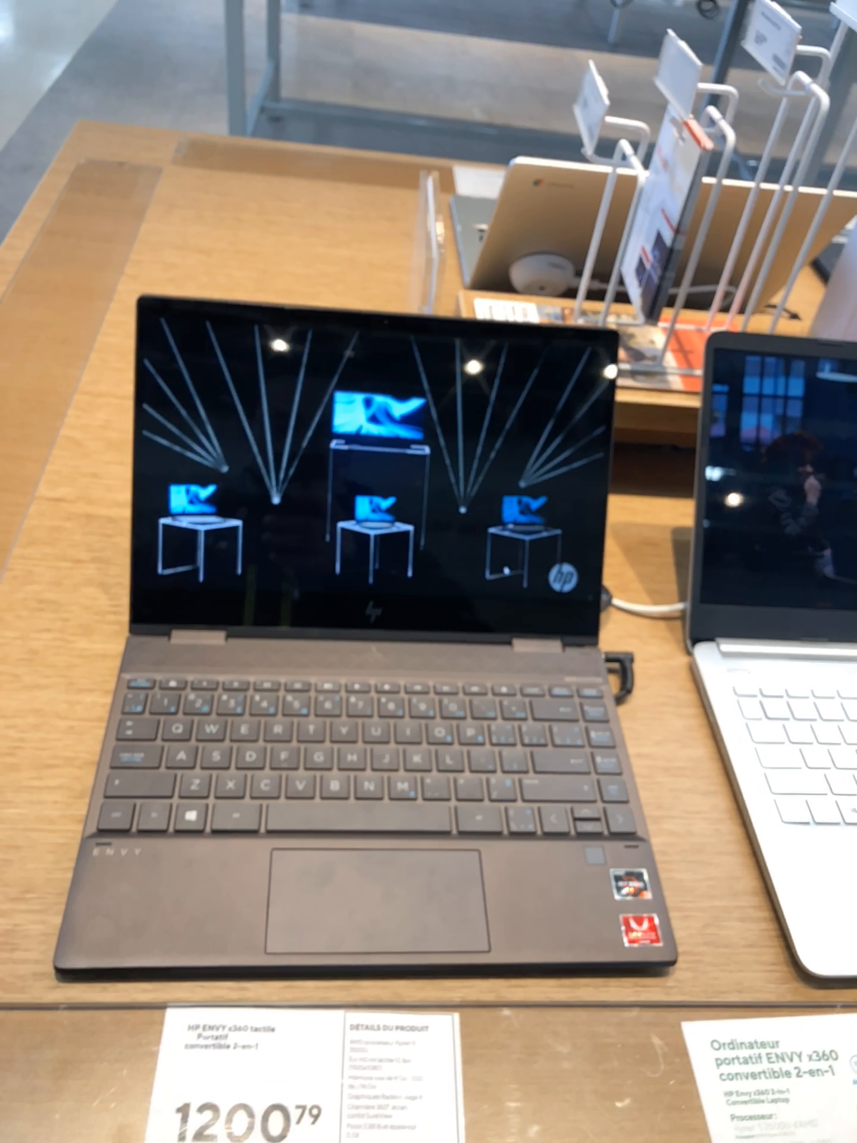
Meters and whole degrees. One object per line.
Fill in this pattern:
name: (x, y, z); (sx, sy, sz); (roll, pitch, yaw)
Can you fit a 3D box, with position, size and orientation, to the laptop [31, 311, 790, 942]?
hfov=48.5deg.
laptop: (-0.018, 0.014, 0.536); (0.293, 0.162, 0.319); (2, 43, -7)
